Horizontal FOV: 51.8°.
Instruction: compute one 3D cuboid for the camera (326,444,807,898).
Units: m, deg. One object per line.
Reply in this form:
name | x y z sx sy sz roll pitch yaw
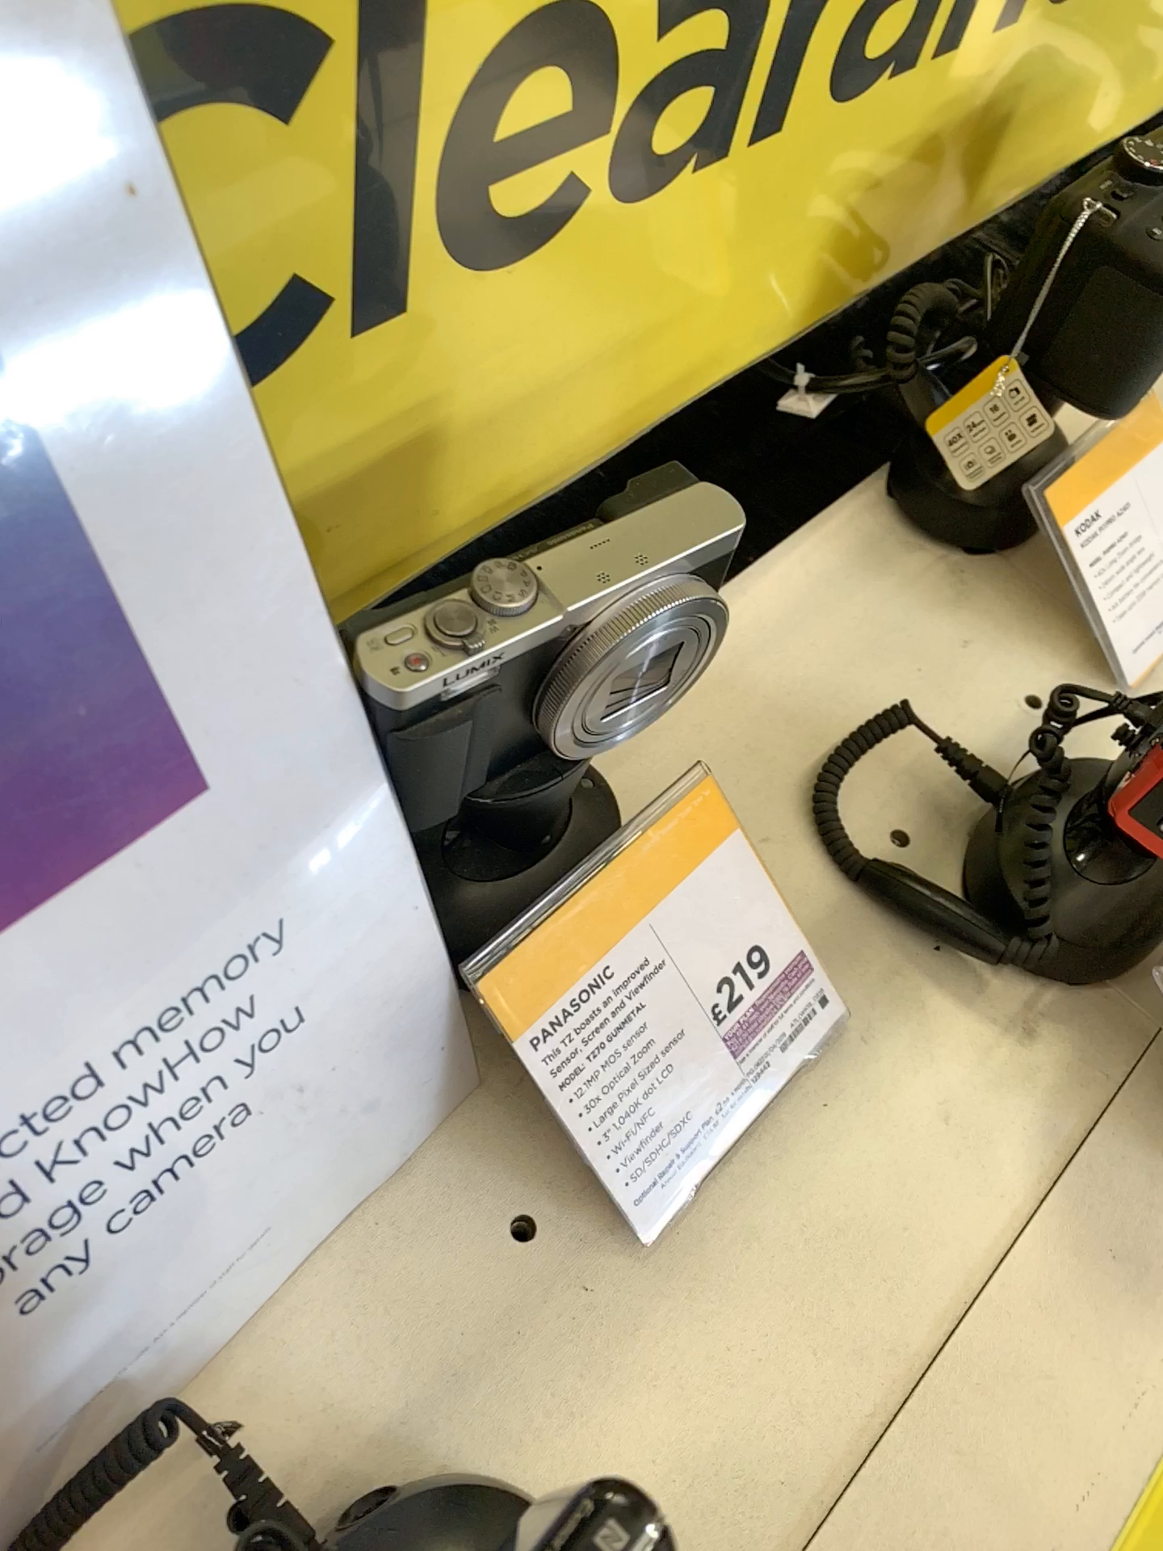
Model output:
camera | -0.006 -0.027 0.303 0.110 0.069 0.040 -30 67 -27
